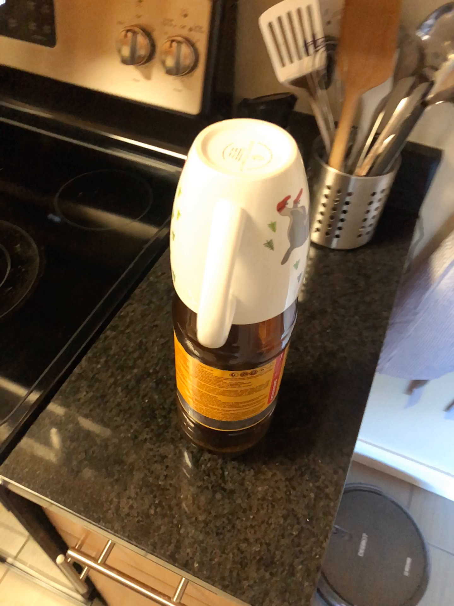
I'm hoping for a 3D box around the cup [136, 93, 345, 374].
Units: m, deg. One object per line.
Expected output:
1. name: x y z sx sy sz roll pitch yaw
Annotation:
1. cup: 0.004 -0.046 0.327 0.100 0.110 0.141 3 48 -2
